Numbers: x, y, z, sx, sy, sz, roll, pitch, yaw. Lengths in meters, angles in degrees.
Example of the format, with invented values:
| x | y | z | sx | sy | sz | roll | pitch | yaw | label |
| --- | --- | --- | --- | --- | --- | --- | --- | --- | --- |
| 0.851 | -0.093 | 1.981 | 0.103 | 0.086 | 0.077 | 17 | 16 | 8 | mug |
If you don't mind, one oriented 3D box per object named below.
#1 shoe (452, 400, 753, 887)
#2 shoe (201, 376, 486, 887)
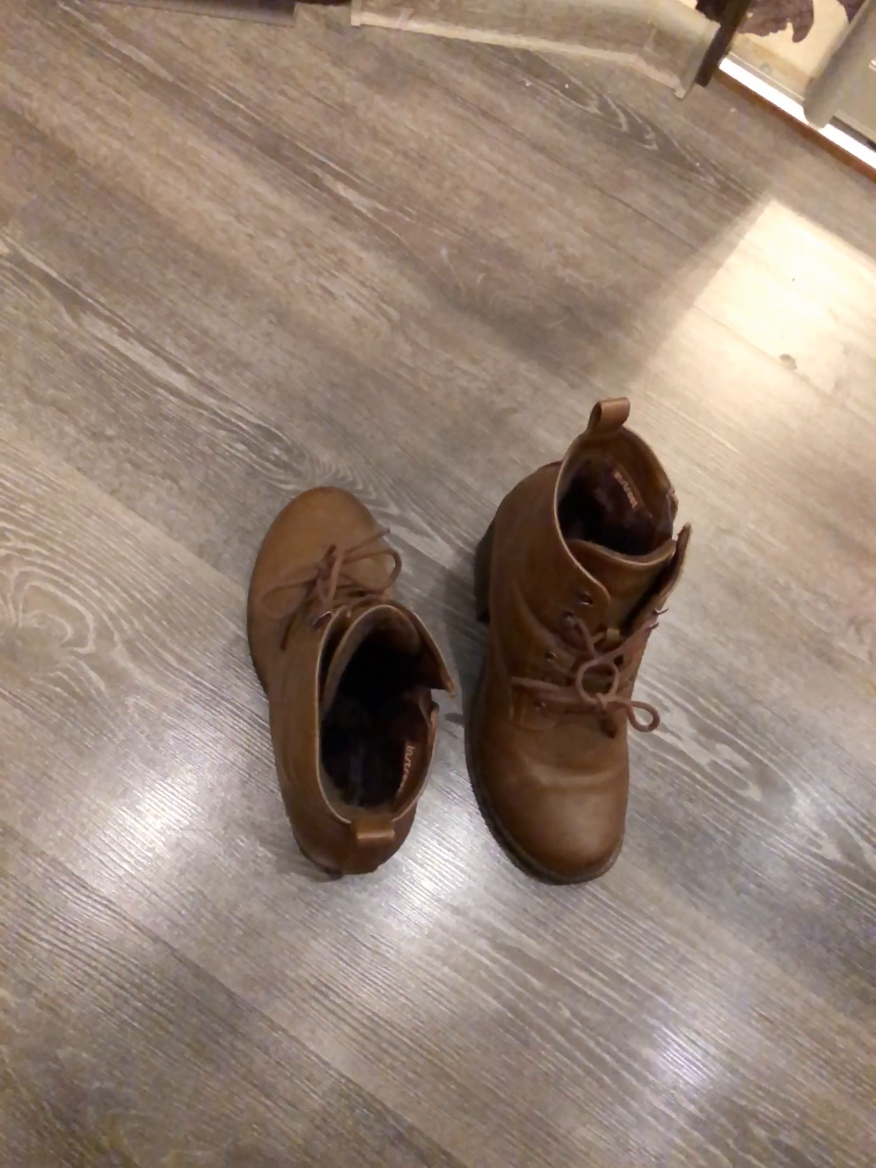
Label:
| x | y | z | sx | sy | sz | roll | pitch | yaw | label |
| --- | --- | --- | --- | --- | --- | --- | --- | --- | --- |
| 0.071 | 0.046 | 0.525 | 0.090 | 0.190 | 0.220 | 1 | 72 | -8 | shoe |
| -0.057 | 0.035 | 0.504 | 0.100 | 0.170 | 0.220 | -5 | 73 | -10 | shoe |
